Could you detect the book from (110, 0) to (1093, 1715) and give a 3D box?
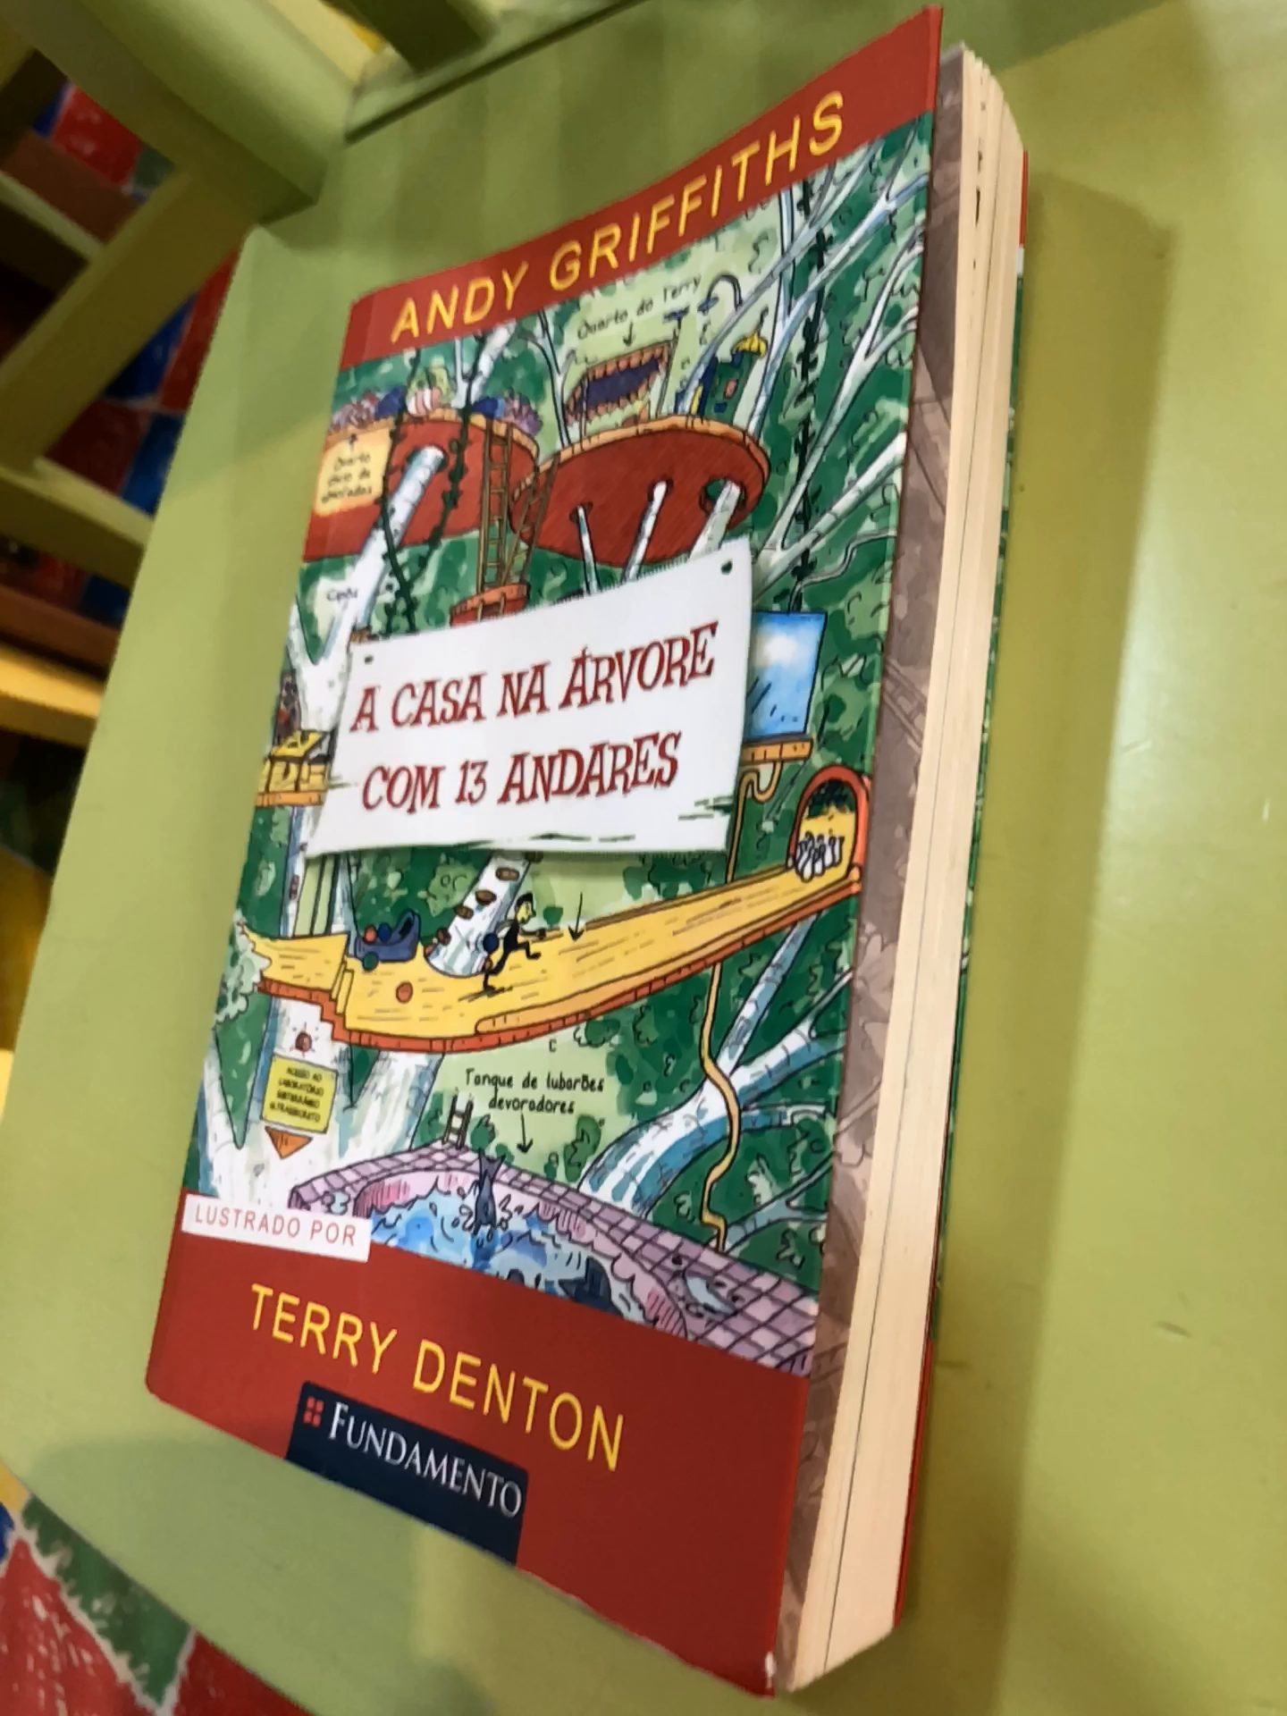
[{"bbox_3d":[-0.012,-0.004,0.229,0.137,0.040,0.210,0,78,43],"label":"book"}]
